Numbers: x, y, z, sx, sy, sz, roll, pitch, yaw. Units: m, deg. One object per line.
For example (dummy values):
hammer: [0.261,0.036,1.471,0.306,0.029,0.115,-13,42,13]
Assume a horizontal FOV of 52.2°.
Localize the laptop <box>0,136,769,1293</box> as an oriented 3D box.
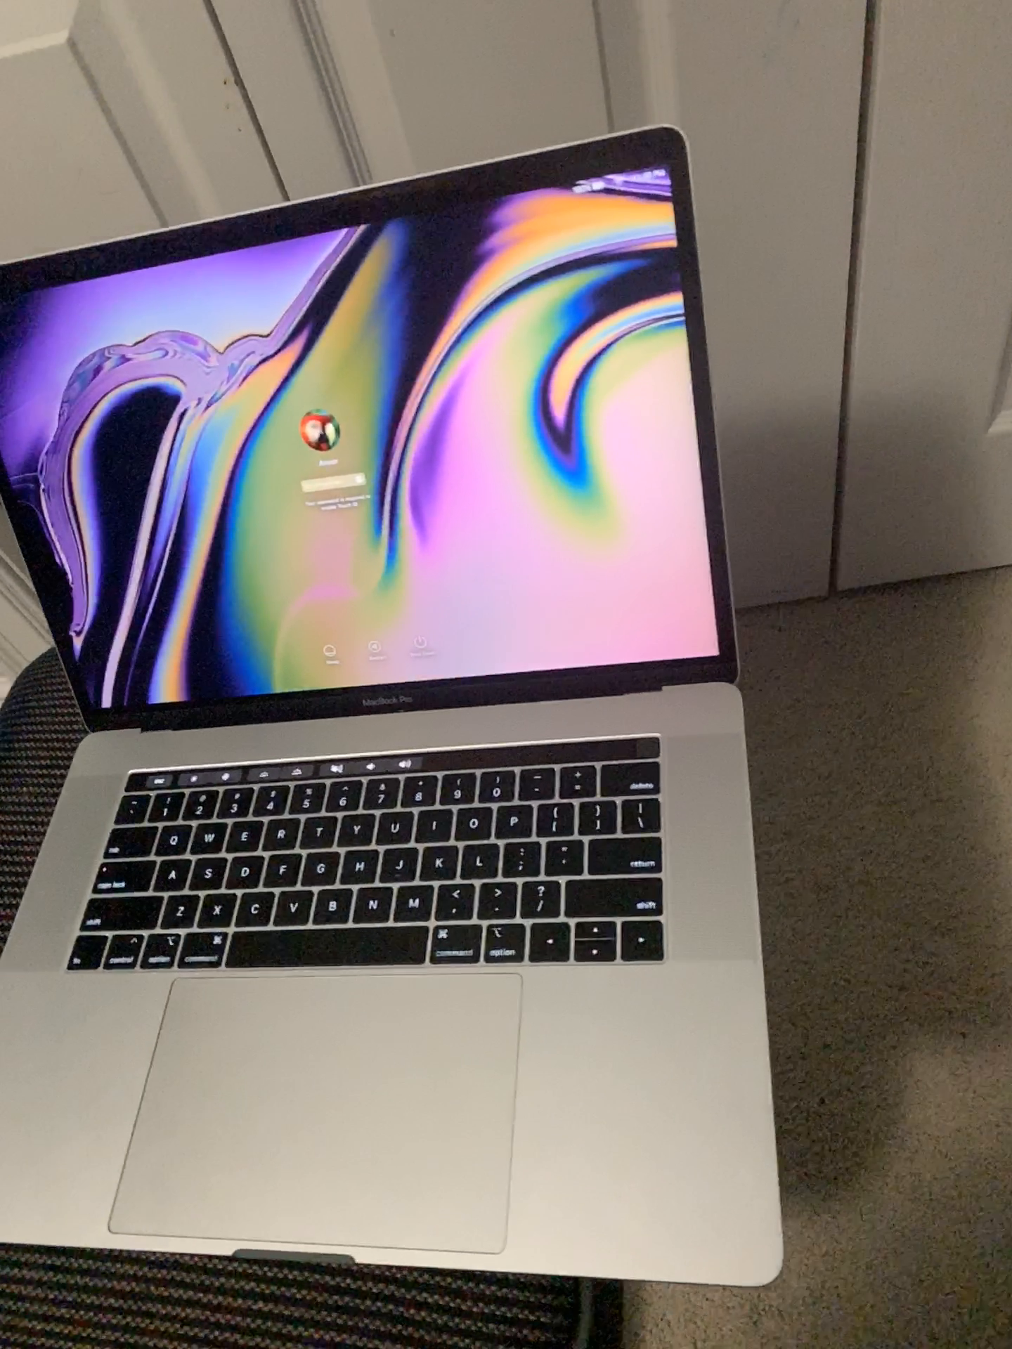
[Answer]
laptop: [-0.090,0.012,0.398,0.342,0.195,0.353,-5,54,14]
